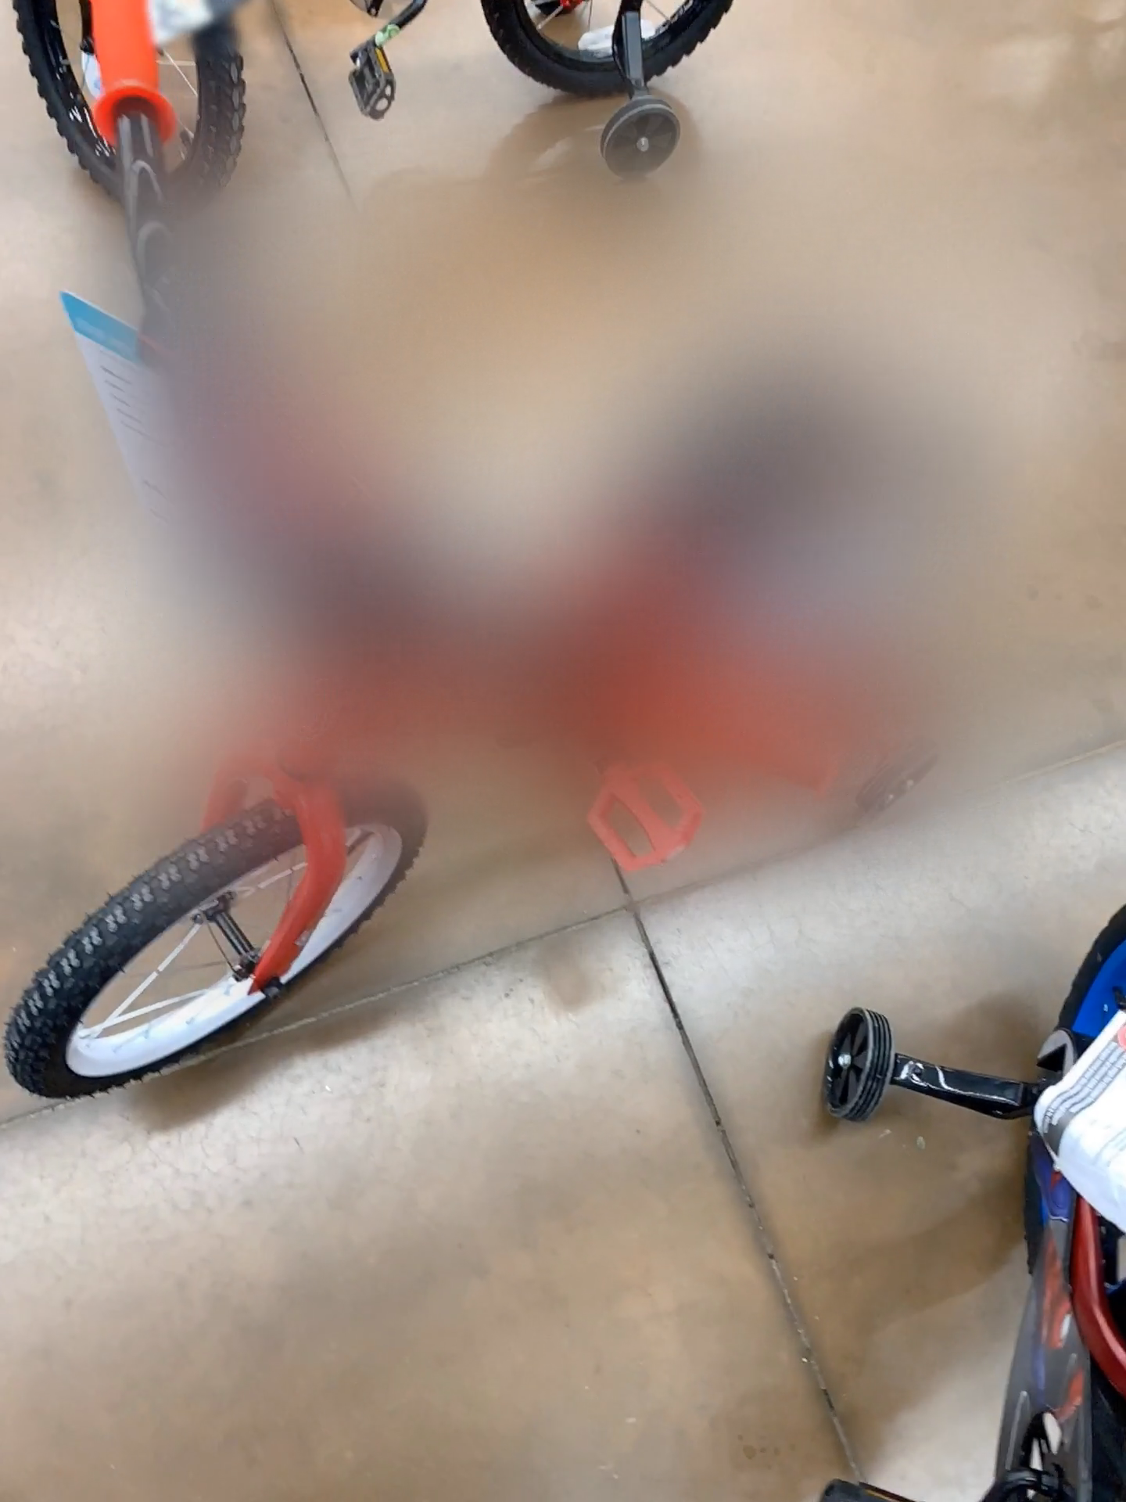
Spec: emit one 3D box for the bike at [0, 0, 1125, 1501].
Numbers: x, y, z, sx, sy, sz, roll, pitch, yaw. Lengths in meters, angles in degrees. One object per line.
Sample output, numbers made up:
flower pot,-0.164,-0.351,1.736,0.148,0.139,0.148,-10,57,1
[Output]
bike,0.055,-0.076,0.933,1.141,0.956,0.516,-32,72,-22
